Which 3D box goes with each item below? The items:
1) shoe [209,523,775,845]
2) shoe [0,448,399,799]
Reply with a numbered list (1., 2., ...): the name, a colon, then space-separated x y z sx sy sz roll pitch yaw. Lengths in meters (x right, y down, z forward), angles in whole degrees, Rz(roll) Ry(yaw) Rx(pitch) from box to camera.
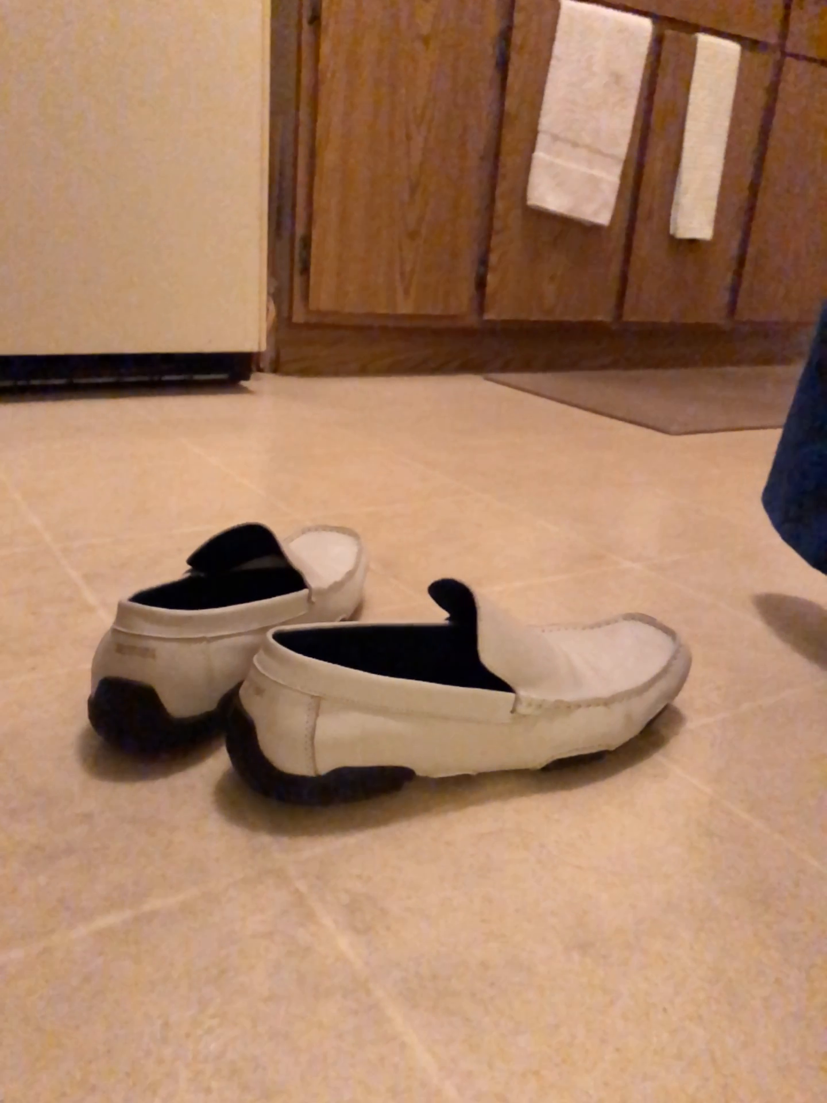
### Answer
1. shoe: 0.043 0.057 0.507 0.290 0.097 0.111 -5 21 -25
2. shoe: -0.108 0.019 0.582 0.110 0.097 0.308 9 20 13
